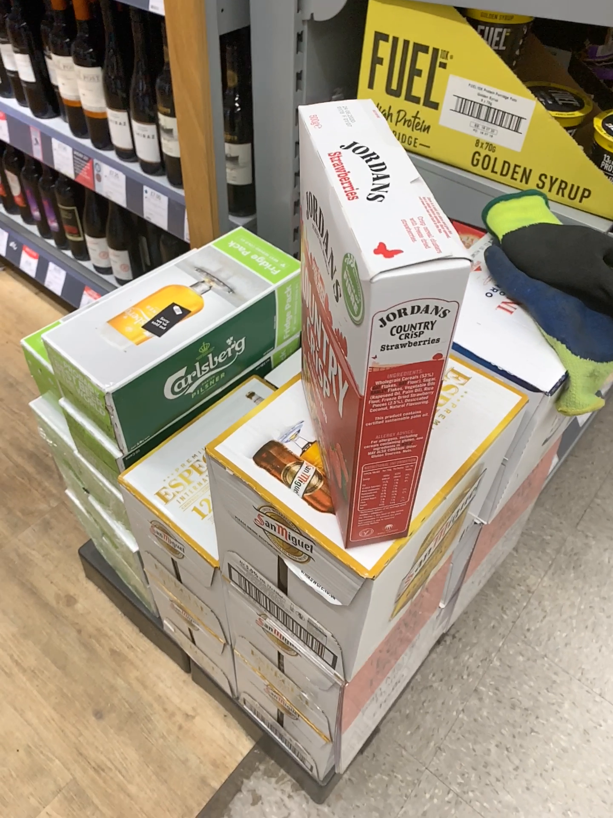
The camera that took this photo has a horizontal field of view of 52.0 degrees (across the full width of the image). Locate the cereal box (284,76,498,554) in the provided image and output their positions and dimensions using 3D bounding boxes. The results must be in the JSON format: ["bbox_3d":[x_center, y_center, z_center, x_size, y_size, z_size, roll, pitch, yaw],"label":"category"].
[{"bbox_3d":[0.035,-0.052,0.422,0.060,0.248,0.192,-9,50,-7],"label":"cereal box"}]
